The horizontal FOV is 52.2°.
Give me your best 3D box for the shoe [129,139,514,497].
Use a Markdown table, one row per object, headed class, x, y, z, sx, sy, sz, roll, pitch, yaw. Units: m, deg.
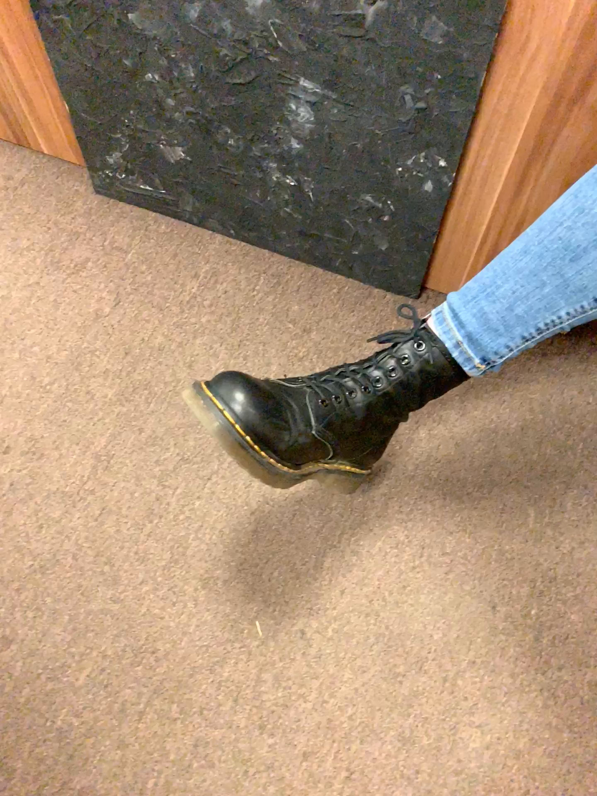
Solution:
| class | x | y | z | sx | sy | sz | roll | pitch | yaw |
| --- | --- | --- | --- | --- | --- | --- | --- | --- | --- |
| shoe | 0.062 | -0.026 | 0.578 | 0.230 | 0.370 | 0.120 | -41 | 69 | 11 |
